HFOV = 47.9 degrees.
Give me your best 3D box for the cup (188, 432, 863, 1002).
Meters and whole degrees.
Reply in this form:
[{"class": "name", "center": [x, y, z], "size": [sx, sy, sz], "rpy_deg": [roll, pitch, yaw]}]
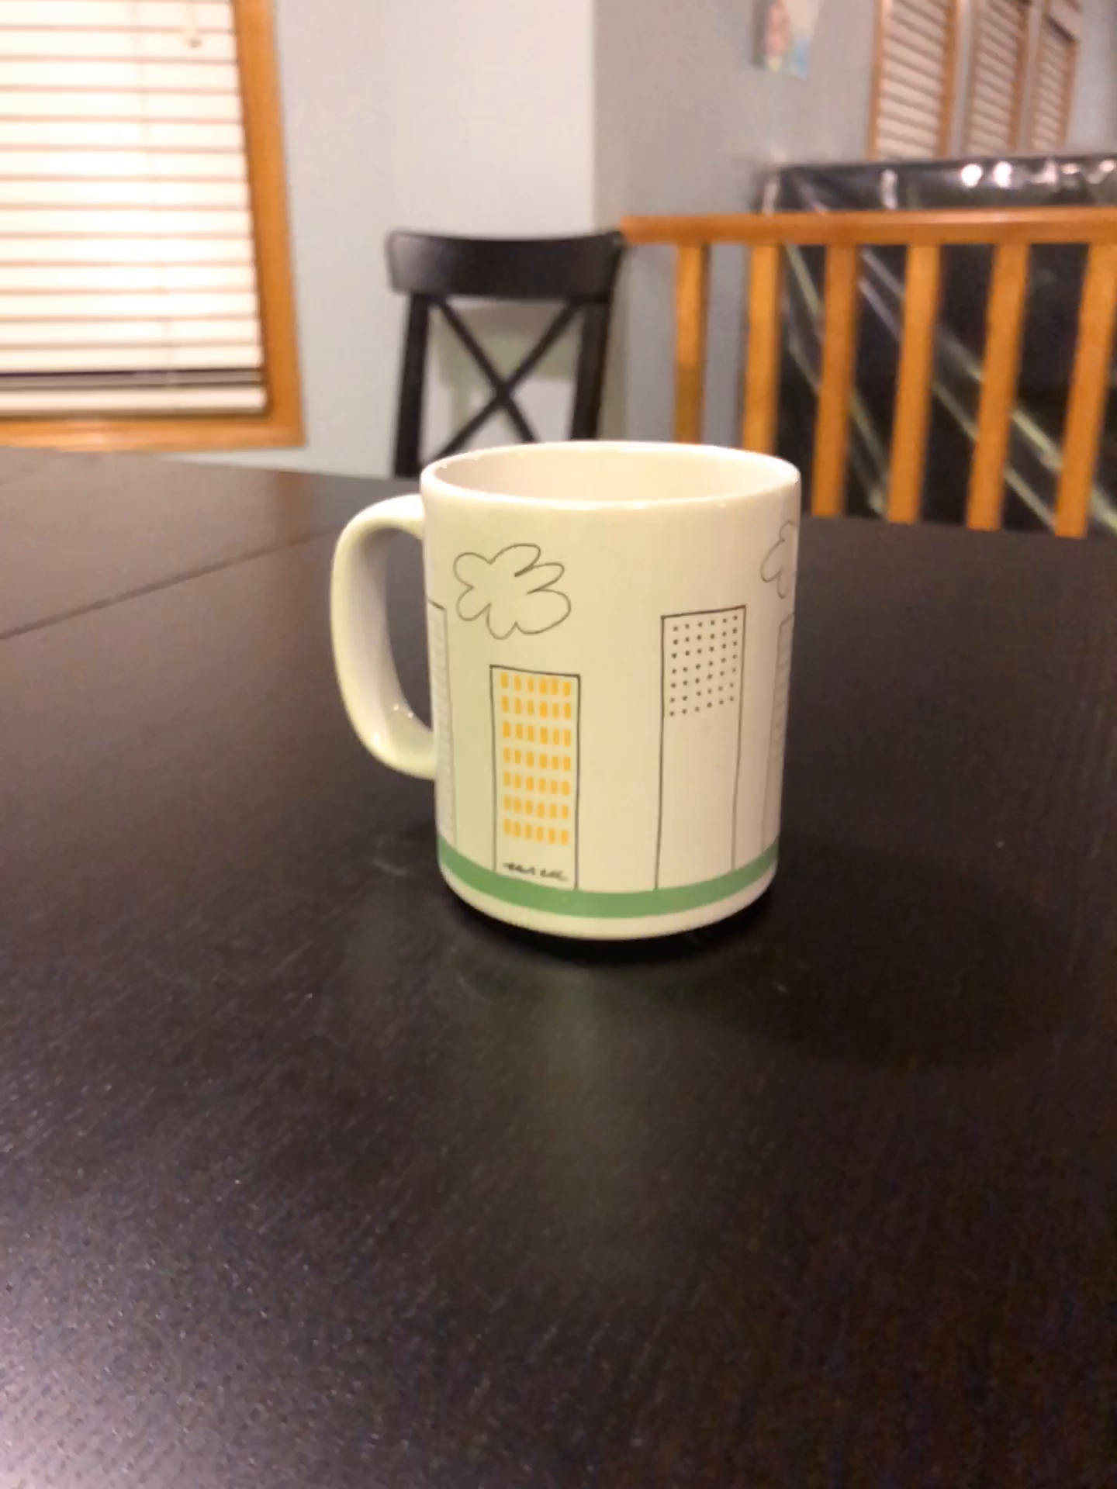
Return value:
[{"class": "cup", "center": [-0.003, -0.017, 0.306], "size": [0.130, 0.100, 0.090], "rpy_deg": [8, 22, 21]}]
